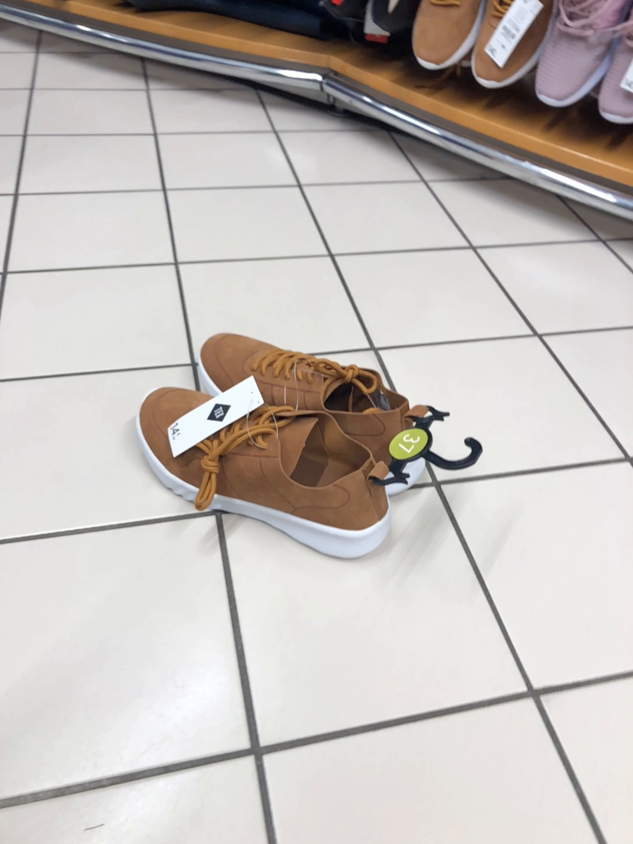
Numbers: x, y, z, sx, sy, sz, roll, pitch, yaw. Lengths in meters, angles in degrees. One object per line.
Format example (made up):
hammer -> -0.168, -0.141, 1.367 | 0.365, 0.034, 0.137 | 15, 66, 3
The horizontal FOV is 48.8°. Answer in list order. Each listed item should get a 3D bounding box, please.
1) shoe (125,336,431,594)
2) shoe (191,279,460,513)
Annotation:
shoe -> -0.036, 0.031, 0.589 | 0.230, 0.099, 0.091 | 24, 46, 18
shoe -> 0.002, -0.029, 0.636 | 0.220, 0.099, 0.091 | 28, 47, 21
